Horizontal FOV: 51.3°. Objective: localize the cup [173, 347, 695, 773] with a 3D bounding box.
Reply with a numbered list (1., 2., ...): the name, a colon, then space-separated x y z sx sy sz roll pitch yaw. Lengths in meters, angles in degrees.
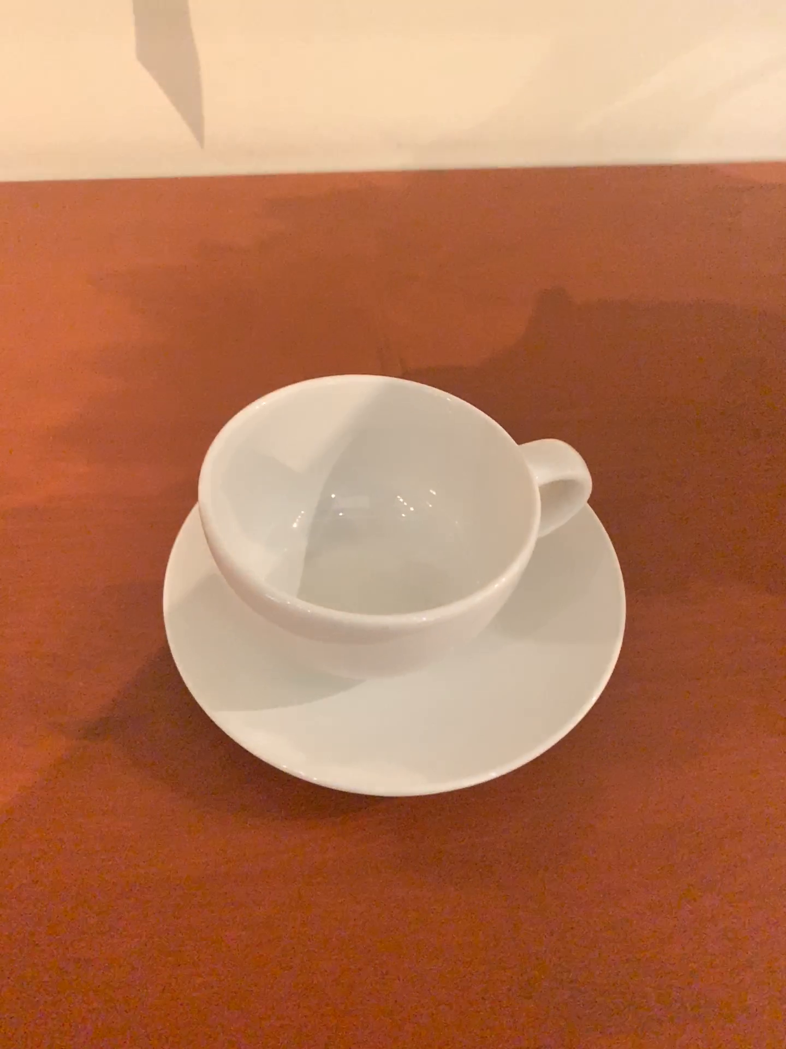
1. cup: 0.006 0.005 0.223 0.110 0.050 0.080 -13 52 -13
